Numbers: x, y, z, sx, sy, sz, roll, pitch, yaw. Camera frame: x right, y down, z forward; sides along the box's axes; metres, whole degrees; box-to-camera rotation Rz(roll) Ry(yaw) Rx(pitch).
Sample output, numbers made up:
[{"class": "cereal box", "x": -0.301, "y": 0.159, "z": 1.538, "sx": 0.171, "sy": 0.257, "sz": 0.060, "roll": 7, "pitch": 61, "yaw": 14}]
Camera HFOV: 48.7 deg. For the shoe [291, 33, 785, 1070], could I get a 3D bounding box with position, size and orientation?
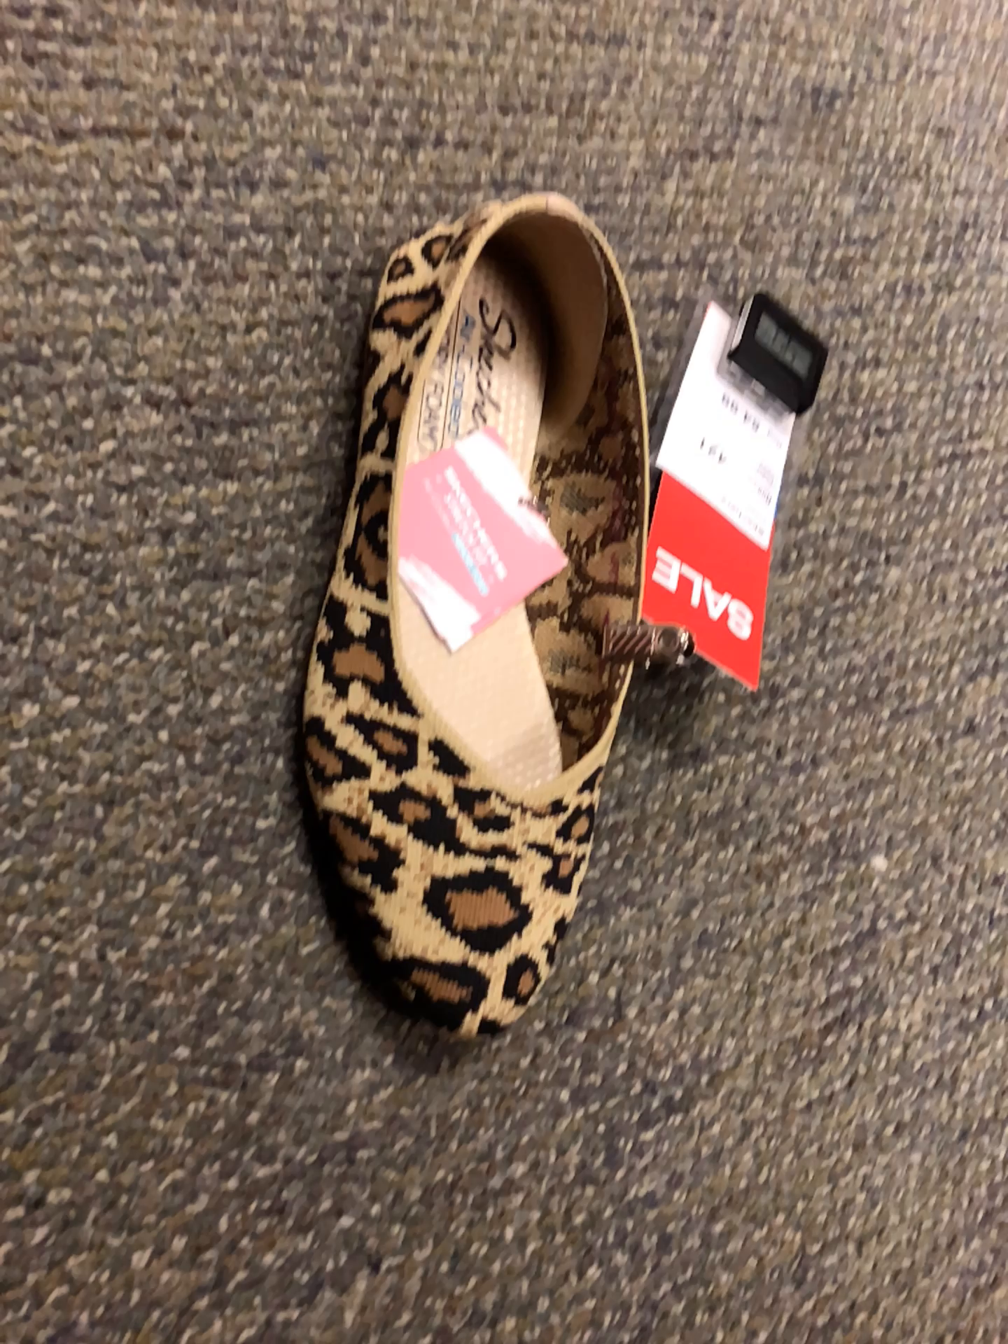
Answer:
[{"class": "shoe", "x": 0.004, "y": -0.028, "z": 0.323, "sx": 0.105, "sy": 0.085, "sz": 0.253, "roll": 4, "pitch": 78, "yaw": -27}]
